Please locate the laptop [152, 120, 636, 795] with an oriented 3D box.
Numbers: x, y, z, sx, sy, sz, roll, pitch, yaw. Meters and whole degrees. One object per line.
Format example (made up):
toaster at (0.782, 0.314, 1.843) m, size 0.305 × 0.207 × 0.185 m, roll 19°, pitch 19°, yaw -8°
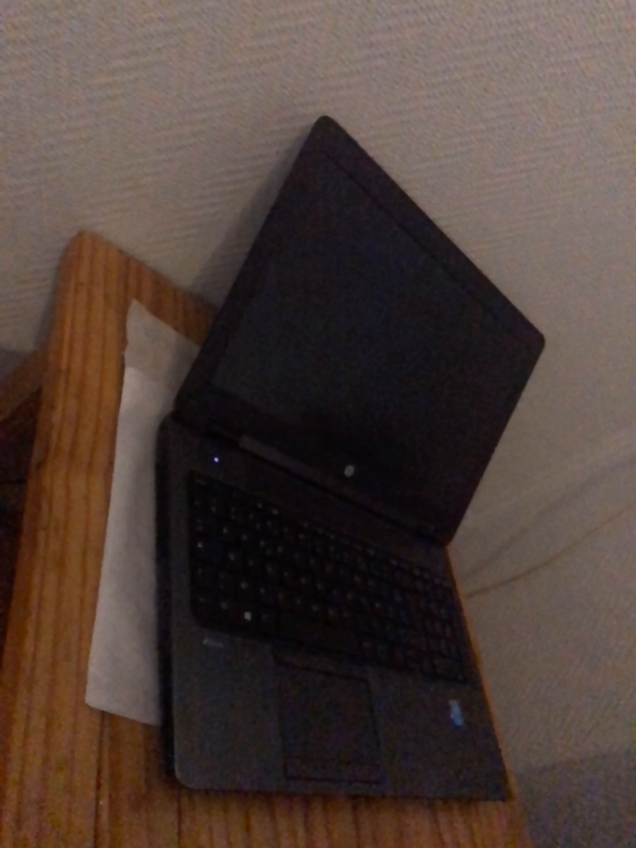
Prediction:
laptop at (0.082, 0.052, 0.585) m, size 0.383 × 0.195 × 0.410 m, roll 30°, pitch 37°, yaw -42°
